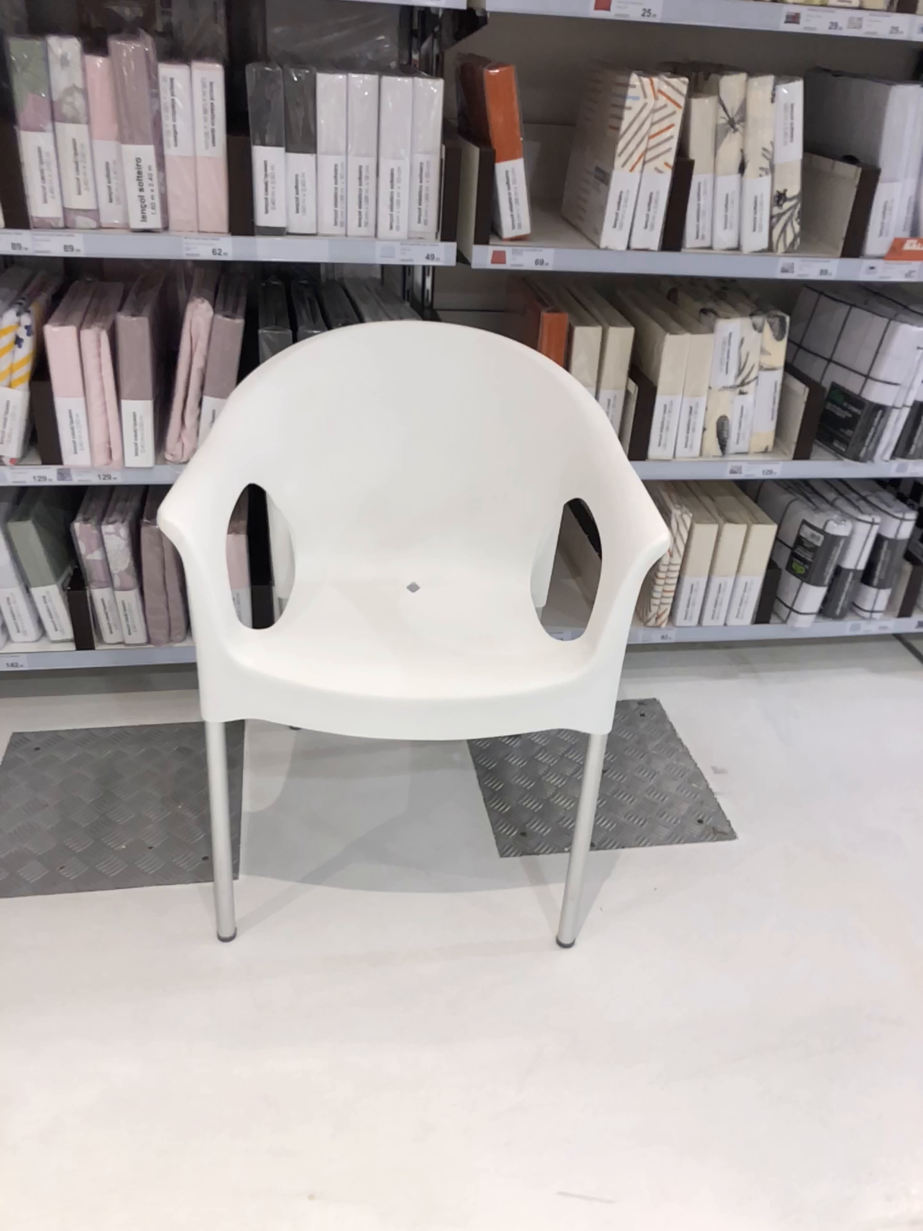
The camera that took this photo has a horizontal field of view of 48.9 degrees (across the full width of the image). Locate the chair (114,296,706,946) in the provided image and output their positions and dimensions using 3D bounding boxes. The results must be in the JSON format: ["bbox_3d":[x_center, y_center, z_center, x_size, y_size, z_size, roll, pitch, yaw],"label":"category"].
[{"bbox_3d":[-0.074,-0.008,1.425,0.590,0.705,0.554,2,30,-3],"label":"chair"}]
